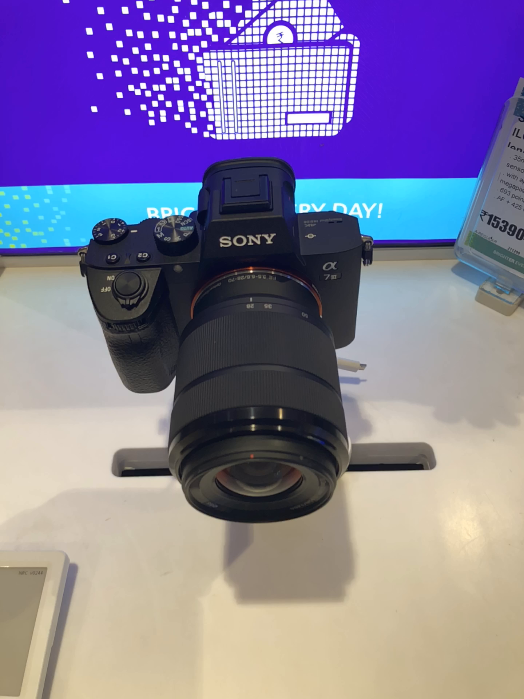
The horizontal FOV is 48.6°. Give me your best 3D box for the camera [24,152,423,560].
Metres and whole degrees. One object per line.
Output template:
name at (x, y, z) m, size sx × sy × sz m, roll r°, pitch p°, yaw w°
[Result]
camera at (-0.019, 0.000, 0.257) m, size 0.120 × 0.109 × 0.128 m, roll -6°, pitch 48°, yaw -6°
